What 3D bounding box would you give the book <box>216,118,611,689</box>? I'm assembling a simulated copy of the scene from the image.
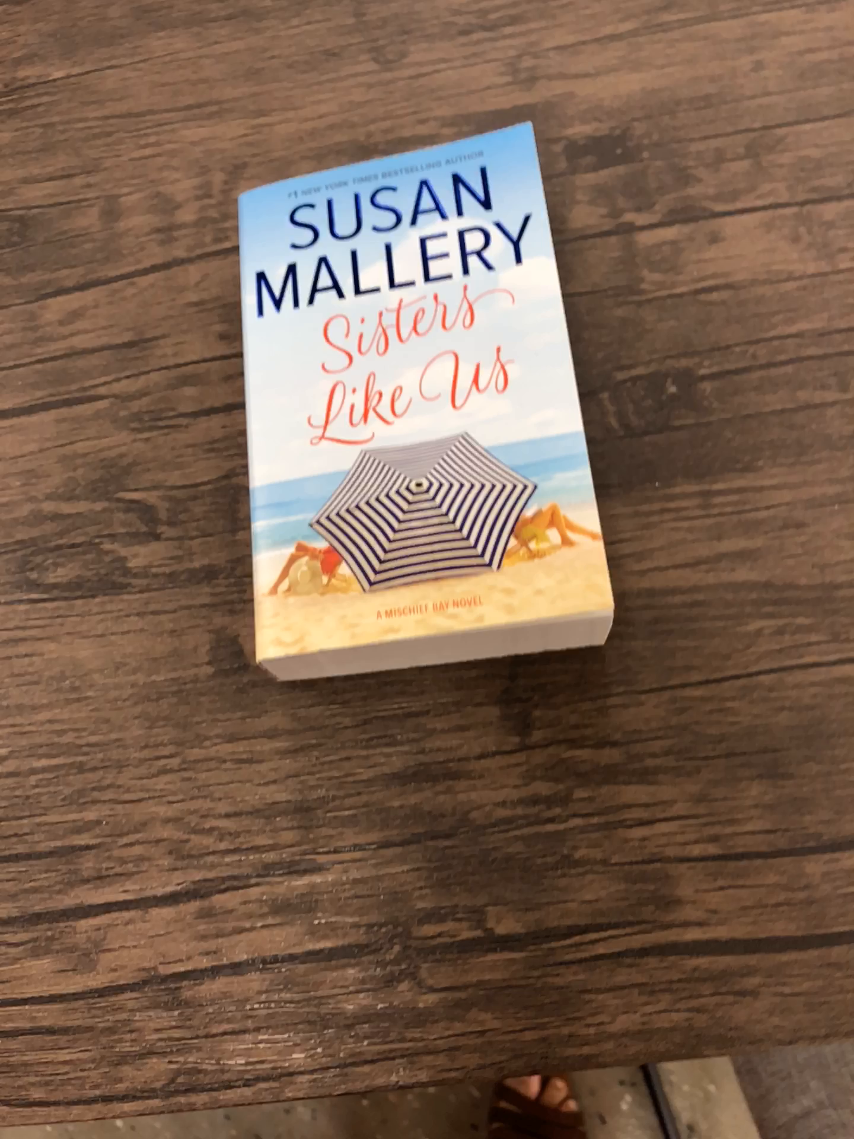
[{"bbox_3d":[-0.007,-0.051,0.303,0.104,0.043,0.160,-9,73,9],"label":"book"}]
